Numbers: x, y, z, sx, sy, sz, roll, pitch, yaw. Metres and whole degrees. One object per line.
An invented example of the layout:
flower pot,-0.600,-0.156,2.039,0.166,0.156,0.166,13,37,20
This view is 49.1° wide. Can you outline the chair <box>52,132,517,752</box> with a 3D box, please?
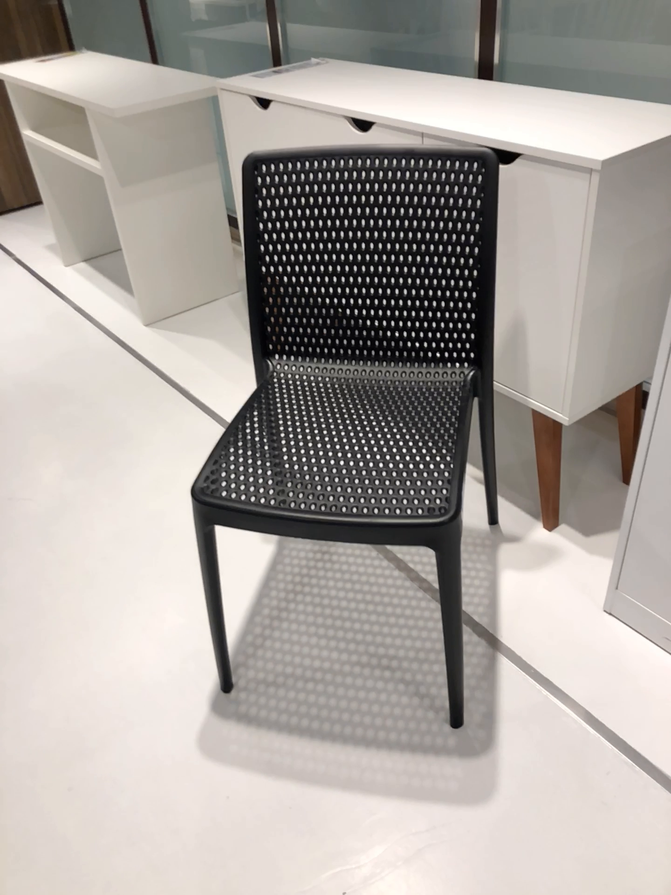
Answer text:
chair,0.018,-0.018,1.305,0.530,0.864,0.604,4,37,12
